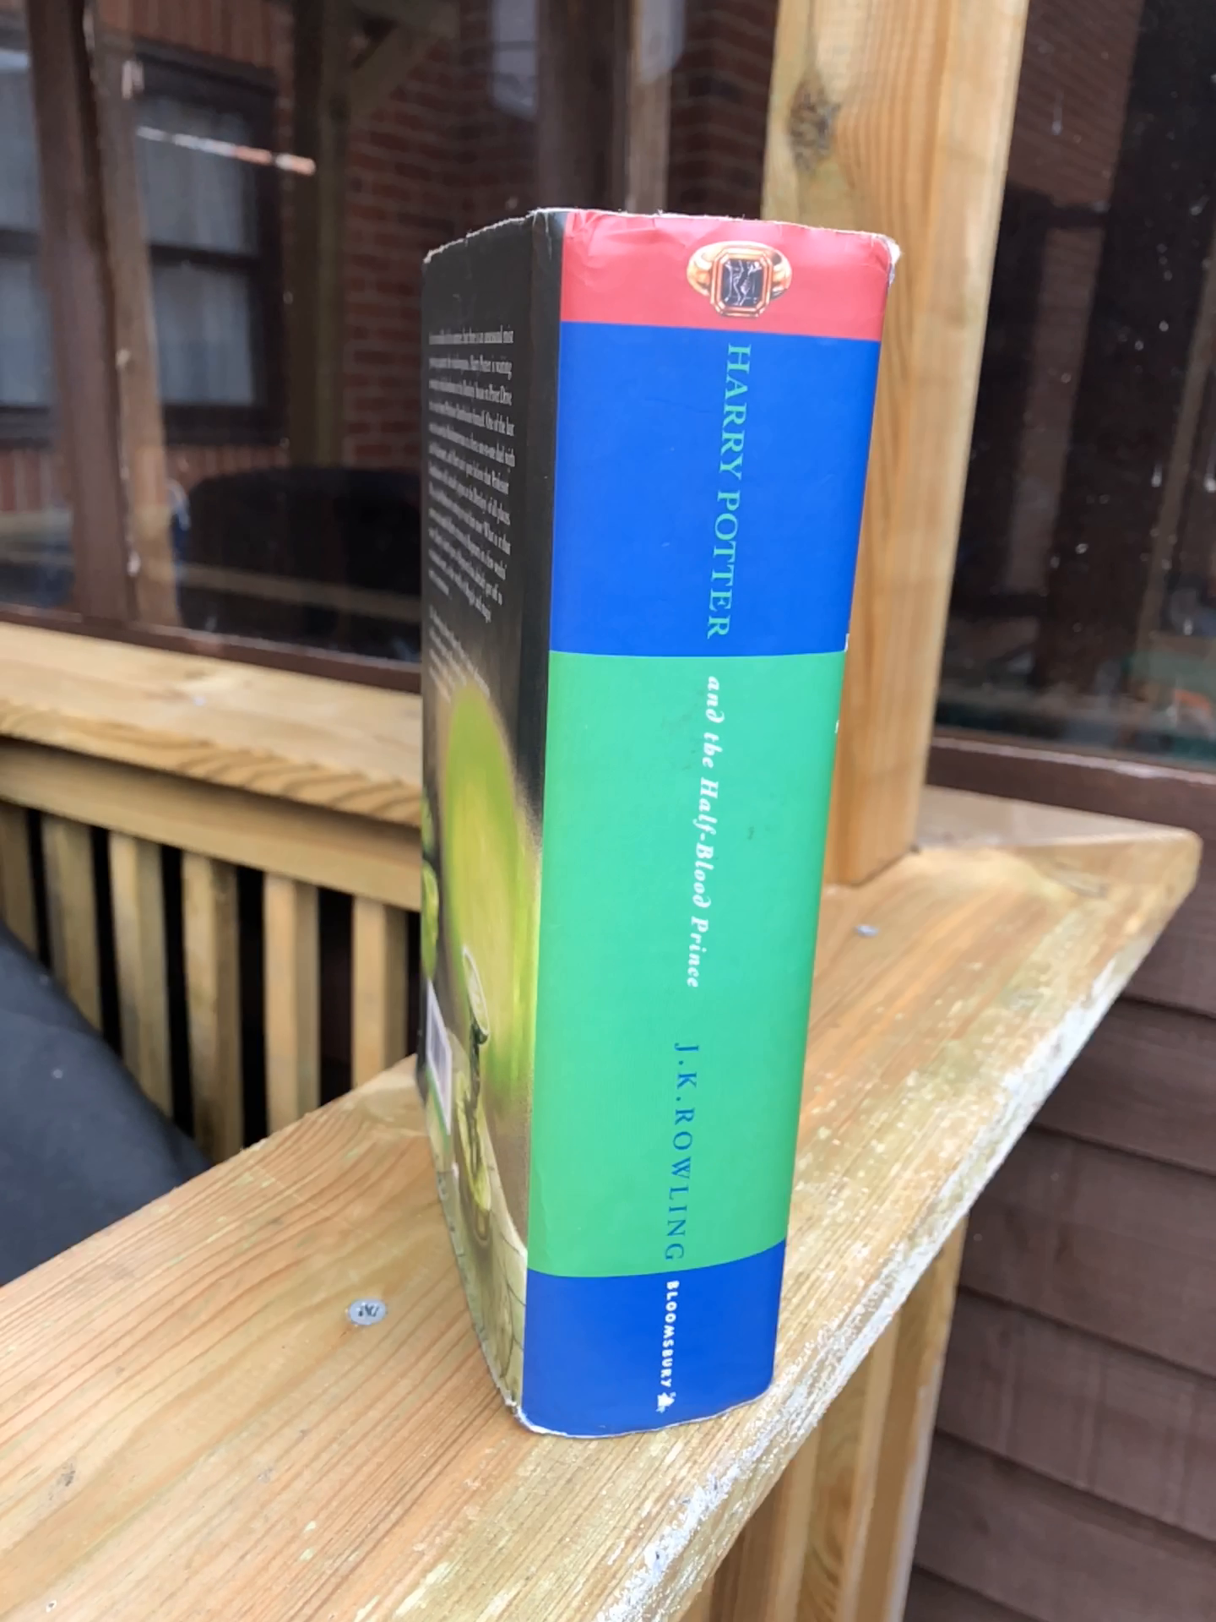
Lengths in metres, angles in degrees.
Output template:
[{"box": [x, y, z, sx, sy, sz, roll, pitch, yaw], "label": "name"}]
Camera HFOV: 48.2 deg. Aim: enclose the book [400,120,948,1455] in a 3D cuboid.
[{"box": [-0.002, -0.011, 0.279, 0.060, 0.209, 0.141, -3, 16, -16], "label": "book"}]
